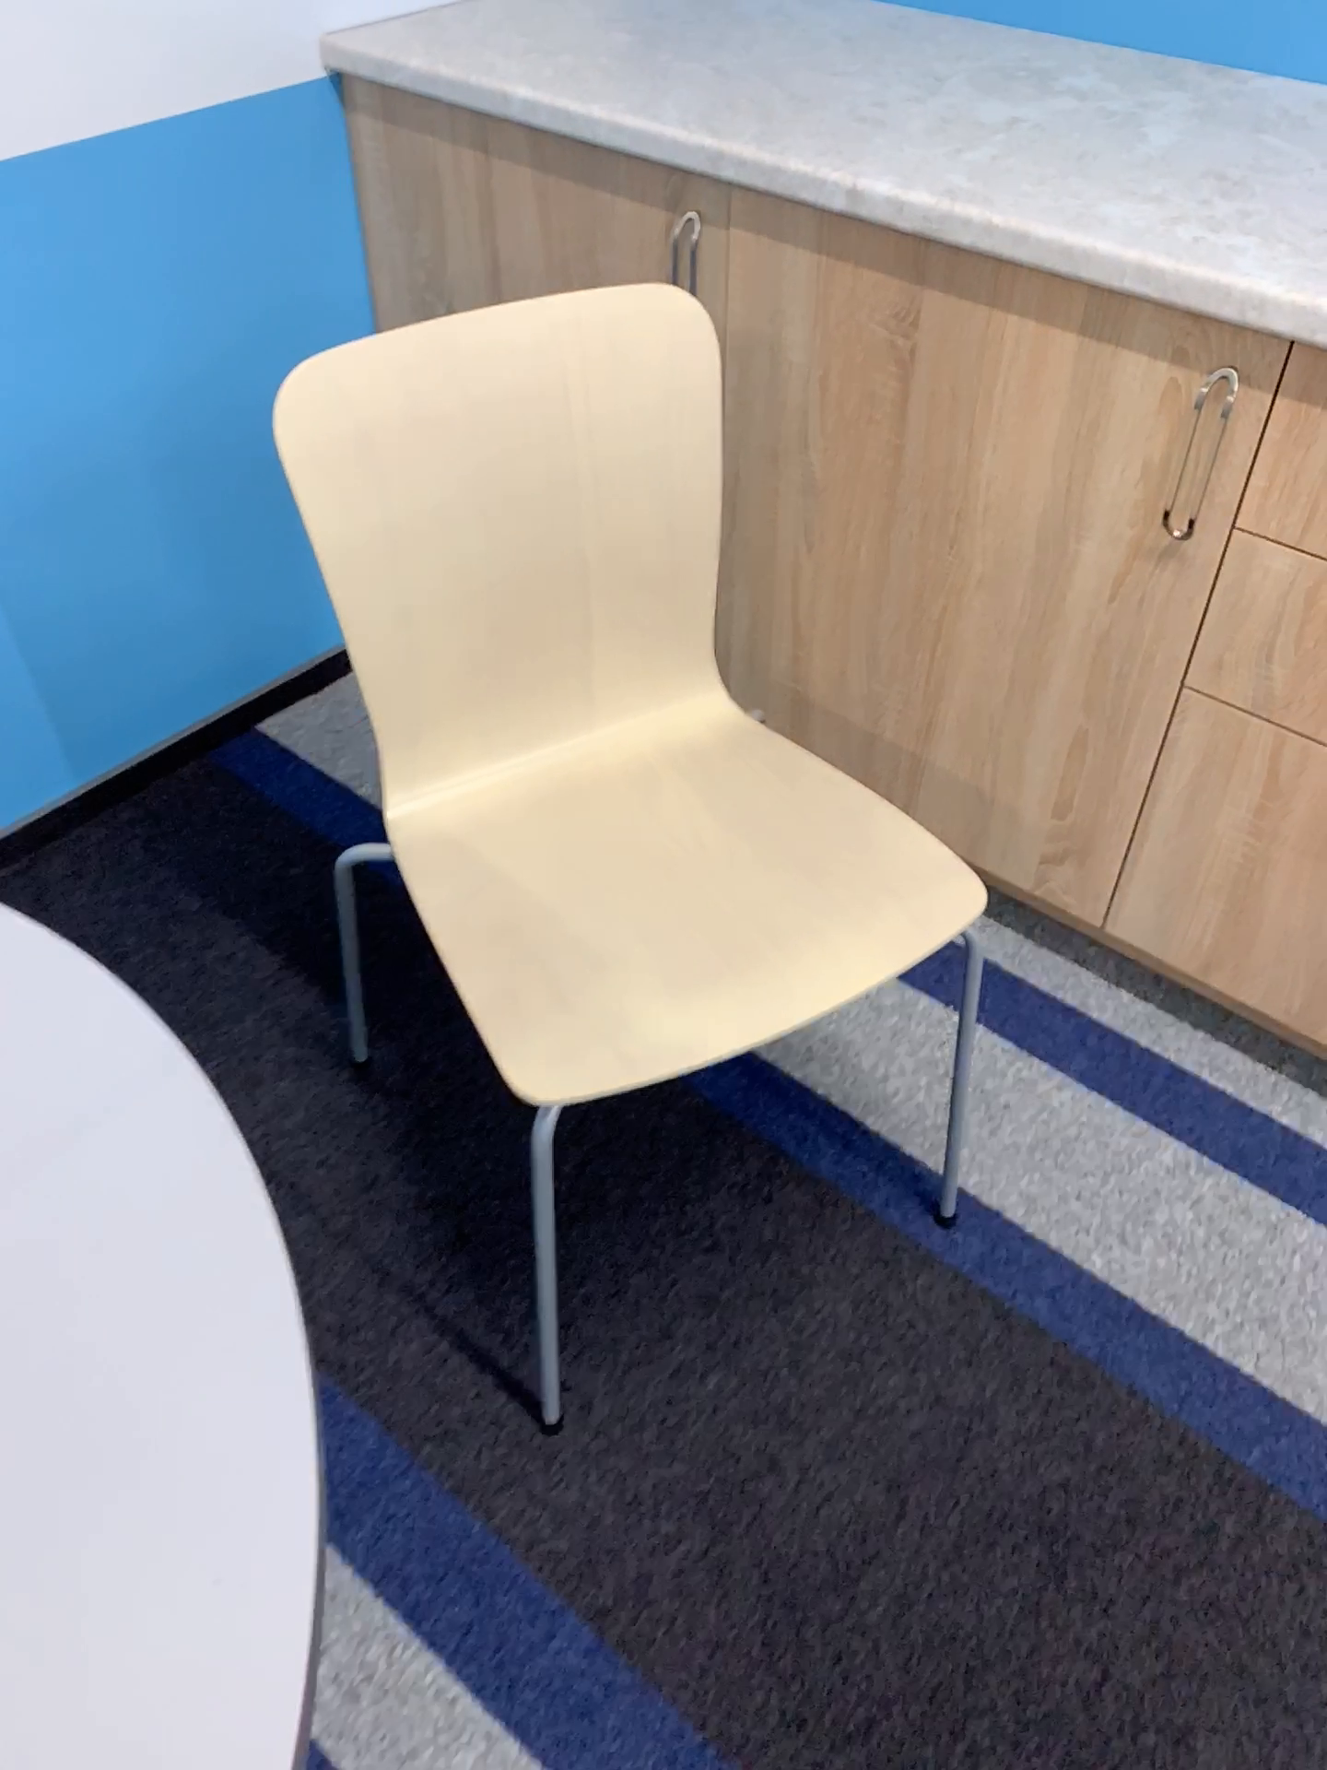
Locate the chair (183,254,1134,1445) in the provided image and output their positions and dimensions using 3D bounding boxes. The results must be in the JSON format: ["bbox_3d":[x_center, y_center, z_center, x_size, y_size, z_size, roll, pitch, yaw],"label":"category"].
[{"bbox_3d":[-0.039,-0.027,1.274,0.477,0.836,0.572,-20,47,-21],"label":"chair"}]
